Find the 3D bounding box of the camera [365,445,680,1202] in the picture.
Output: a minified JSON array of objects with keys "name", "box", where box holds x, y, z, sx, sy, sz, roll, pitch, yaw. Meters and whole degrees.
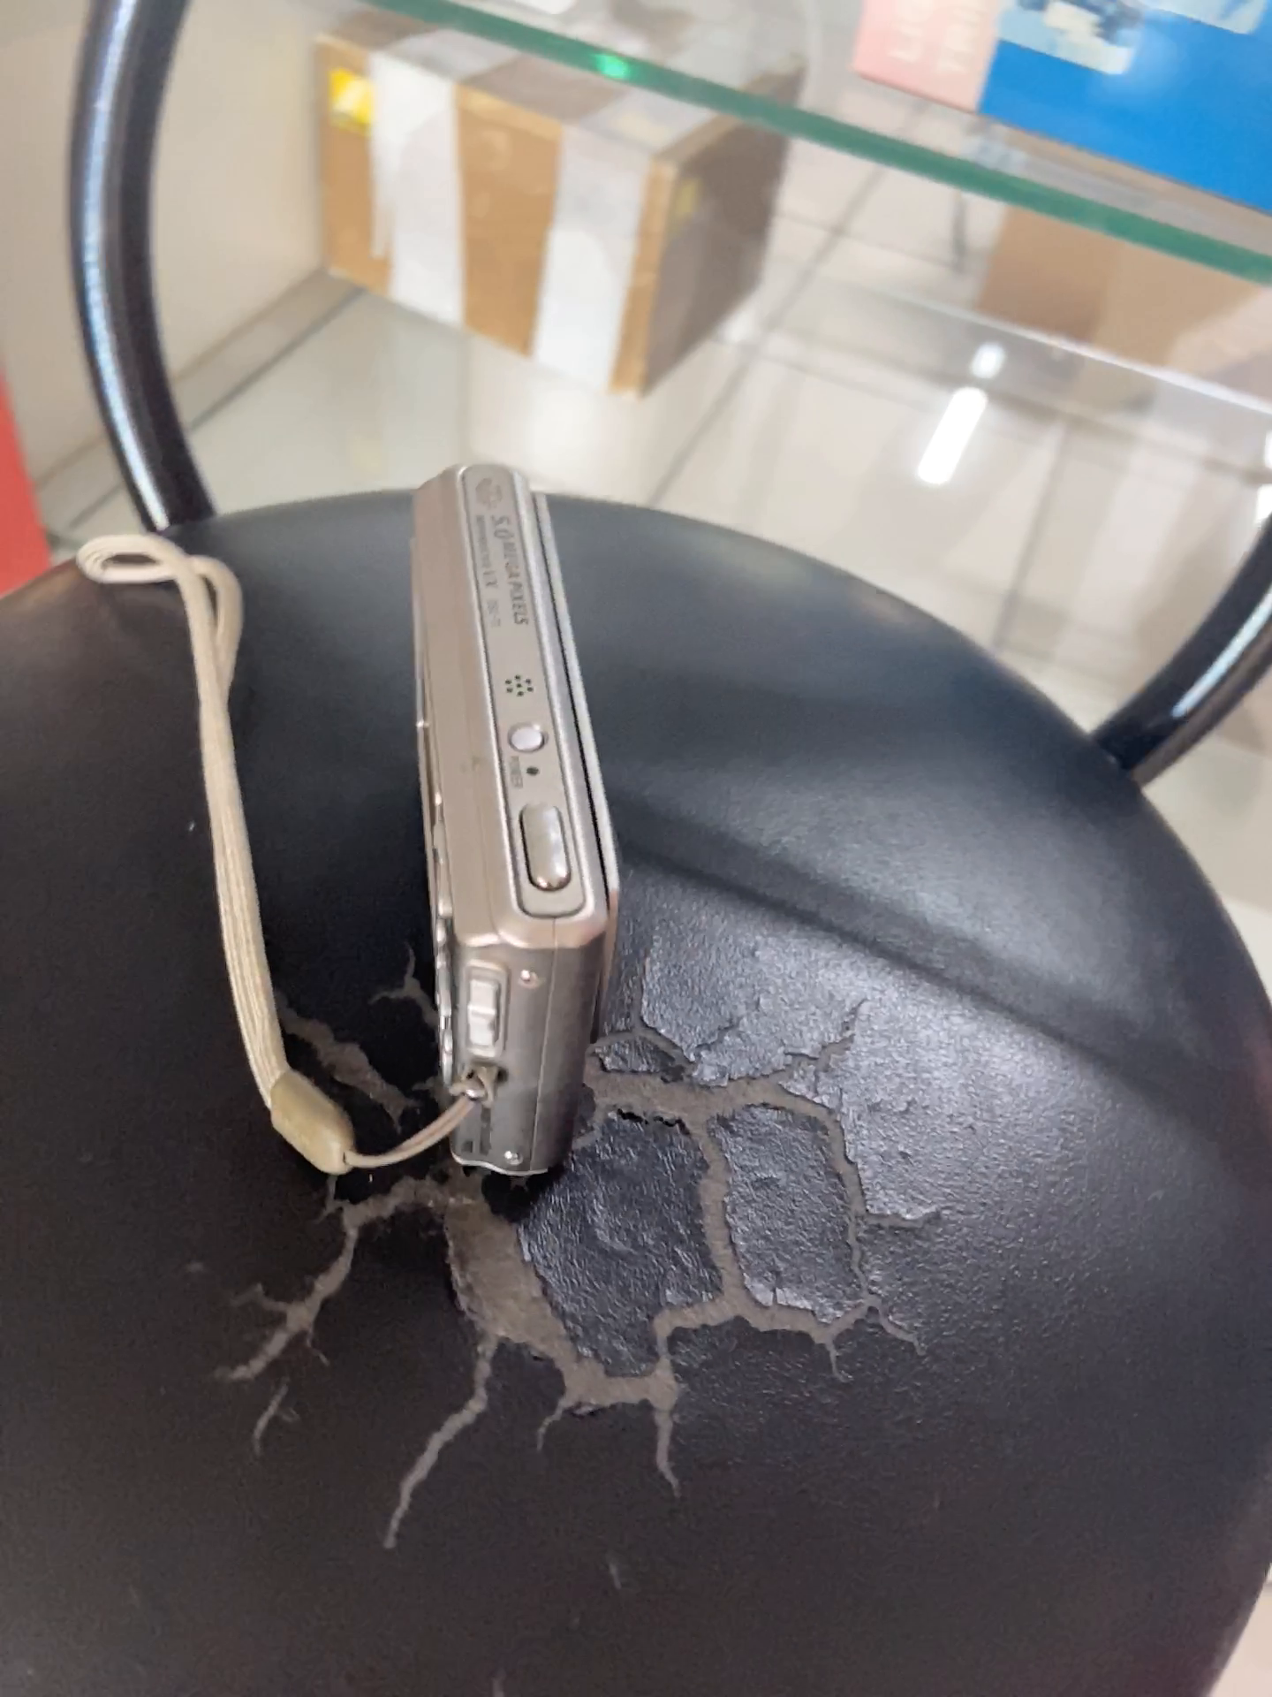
[{"name":"camera","box":[-0.023,-0.007,0.205,0.030,0.060,0.100,-3,50,-13]}]
